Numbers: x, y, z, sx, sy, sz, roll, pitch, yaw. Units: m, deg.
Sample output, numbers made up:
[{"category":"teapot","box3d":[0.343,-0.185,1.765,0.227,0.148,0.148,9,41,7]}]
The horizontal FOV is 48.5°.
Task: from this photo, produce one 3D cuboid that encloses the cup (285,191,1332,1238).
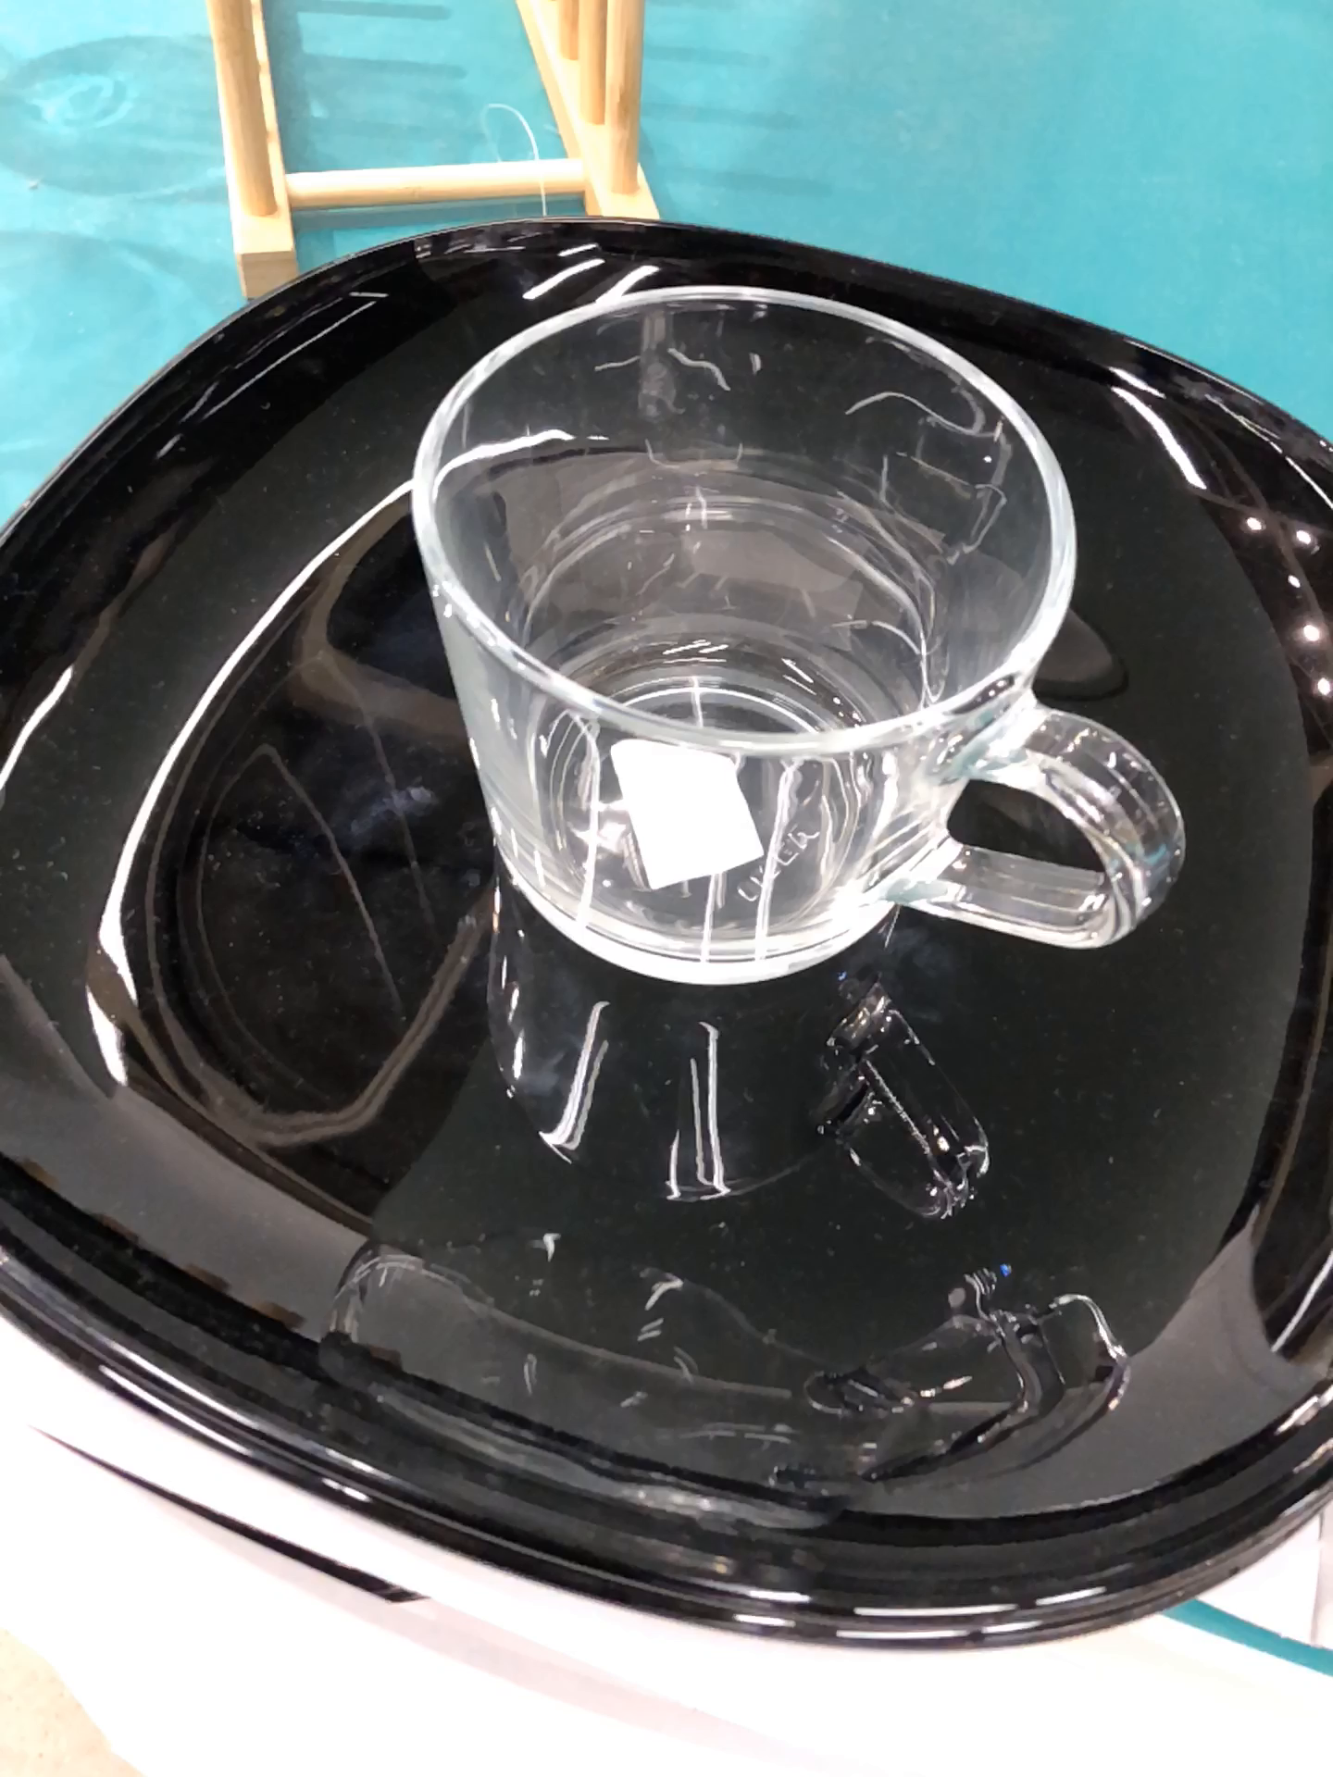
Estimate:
[{"category":"cup","box3d":[0.031,-0.038,0.267,0.140,0.080,0.120,31,57,17]}]
